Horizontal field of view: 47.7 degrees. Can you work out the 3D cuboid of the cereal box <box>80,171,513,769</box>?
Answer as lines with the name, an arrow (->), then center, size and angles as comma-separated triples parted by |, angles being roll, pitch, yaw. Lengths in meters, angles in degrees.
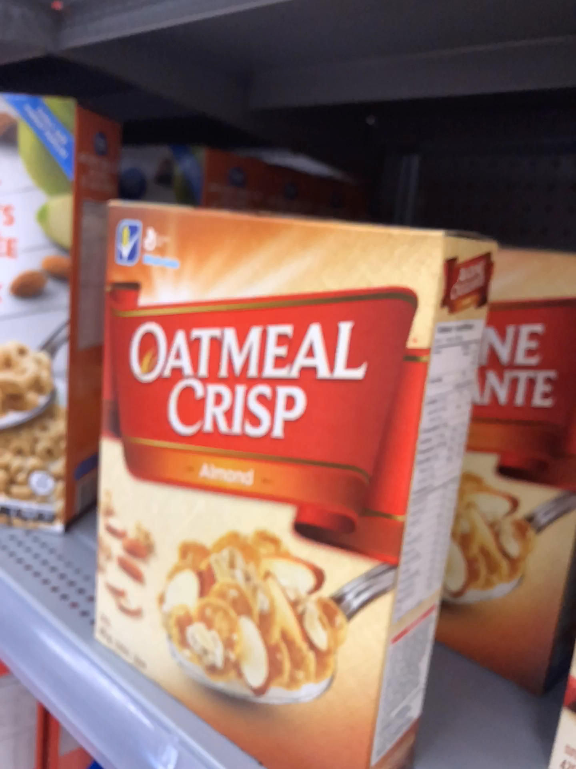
cereal box -> -0.019, 0.040, 0.340 | 0.211, 0.279, 0.050 | 15, 15, 36
